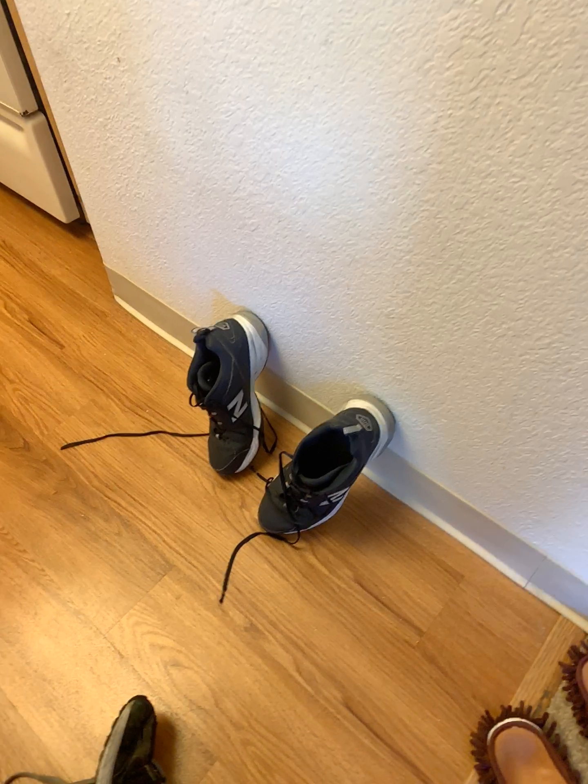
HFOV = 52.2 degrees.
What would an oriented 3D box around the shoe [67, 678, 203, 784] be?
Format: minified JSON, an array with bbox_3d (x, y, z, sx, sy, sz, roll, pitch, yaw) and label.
[{"bbox_3d":[-0.190,0.533,0.732,0.110,0.110,0.301,-12,53,0],"label":"shoe"}]

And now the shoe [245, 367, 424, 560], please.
[{"bbox_3d":[0.052,0.107,0.872,0.110,0.259,0.110,42,36,12],"label":"shoe"}]

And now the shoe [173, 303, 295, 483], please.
[{"bbox_3d":[-0.113,-0.004,1.131,0.150,0.259,0.180,15,28,13],"label":"shoe"}]
